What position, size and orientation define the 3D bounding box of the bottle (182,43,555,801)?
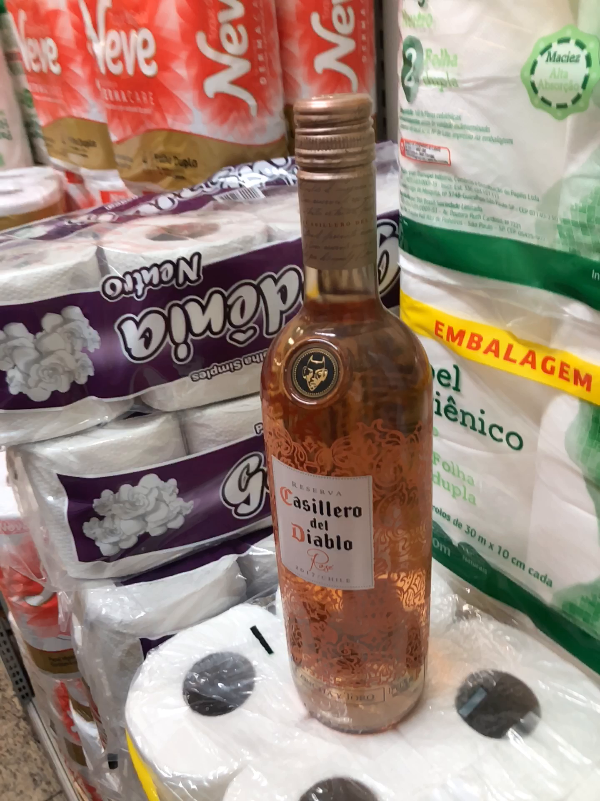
[{"bbox_3d":[0.038,0.030,0.281,0.090,0.307,0.080,13,33,32],"label":"bottle"}]
